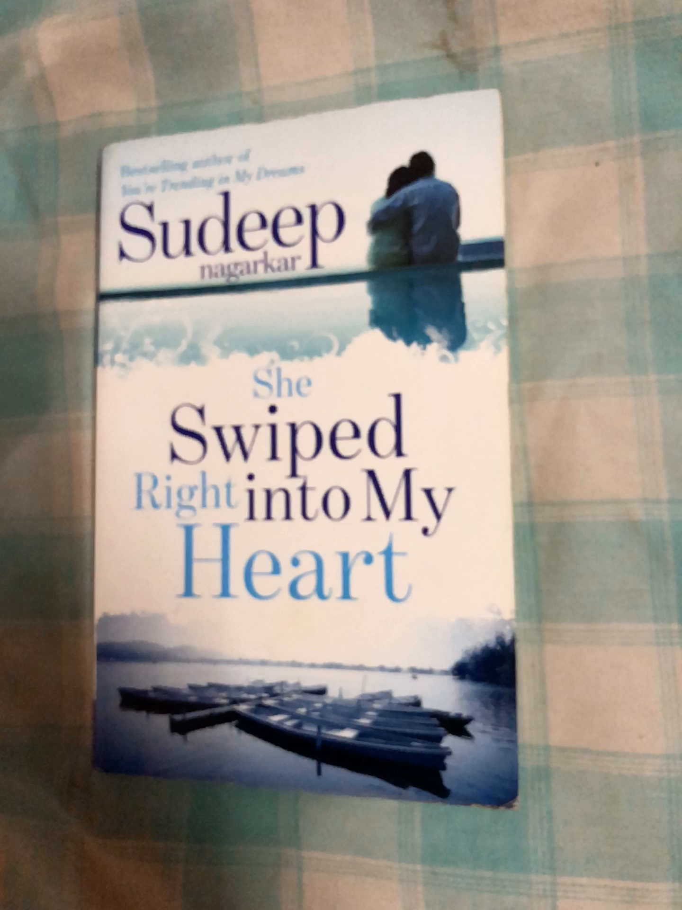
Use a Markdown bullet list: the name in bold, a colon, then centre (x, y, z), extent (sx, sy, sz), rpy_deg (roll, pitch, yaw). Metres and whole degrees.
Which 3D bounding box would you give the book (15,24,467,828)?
- **book**: centre (-0.031, -0.008, 0.233), extent (0.130, 0.030, 0.210), rpy_deg (-1, 87, 15)
